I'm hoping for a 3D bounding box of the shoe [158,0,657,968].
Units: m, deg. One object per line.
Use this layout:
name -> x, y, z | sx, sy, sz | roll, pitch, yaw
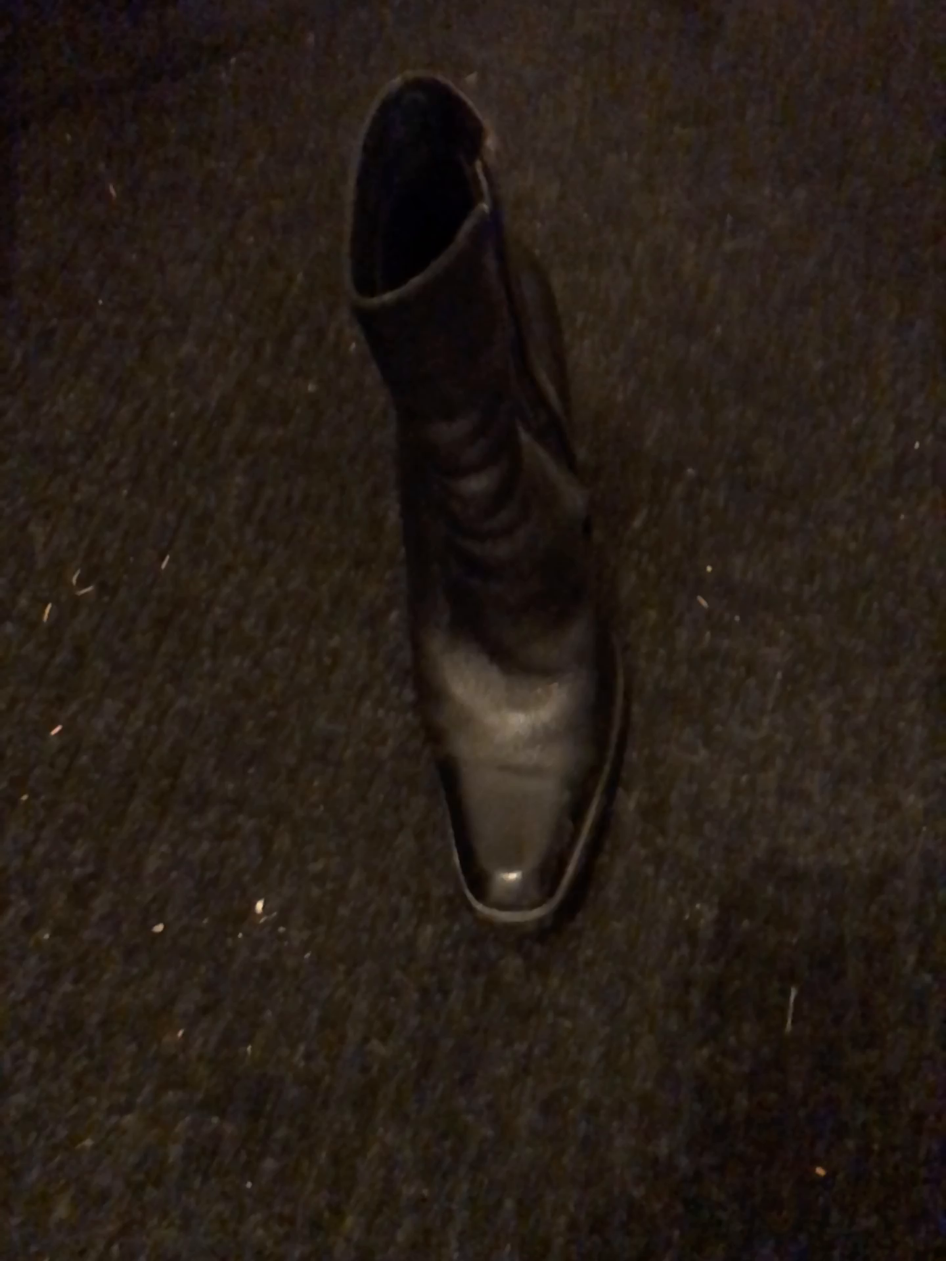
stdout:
shoe -> 0.006, -0.038, 0.350 | 0.090, 0.209, 0.241 | -4, 57, 10
